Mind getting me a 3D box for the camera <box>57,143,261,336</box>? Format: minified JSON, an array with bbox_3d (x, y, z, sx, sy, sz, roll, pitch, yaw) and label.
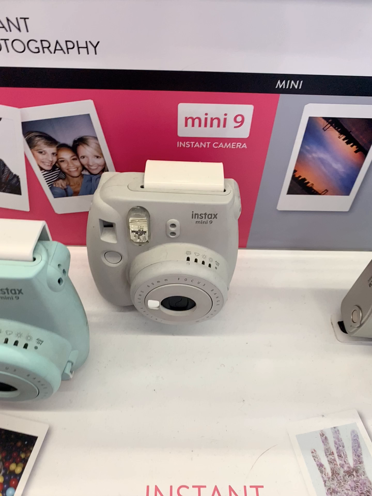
[{"bbox_3d":[-0.015,-0.003,0.274,0.110,0.109,0.081,2,48,0],"label":"camera"}]
